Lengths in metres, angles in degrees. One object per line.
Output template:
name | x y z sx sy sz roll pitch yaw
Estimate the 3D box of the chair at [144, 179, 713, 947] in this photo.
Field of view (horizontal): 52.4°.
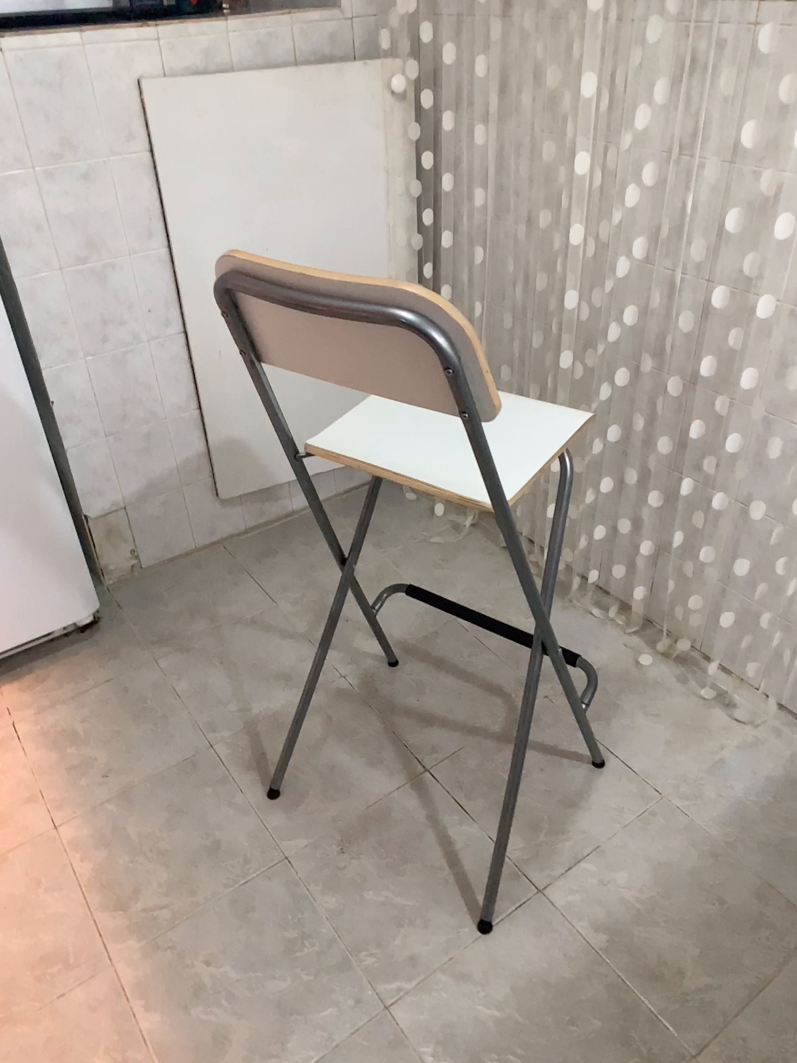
chair | 0.057 0.051 1.289 0.538 1.008 0.467 21 40 28
